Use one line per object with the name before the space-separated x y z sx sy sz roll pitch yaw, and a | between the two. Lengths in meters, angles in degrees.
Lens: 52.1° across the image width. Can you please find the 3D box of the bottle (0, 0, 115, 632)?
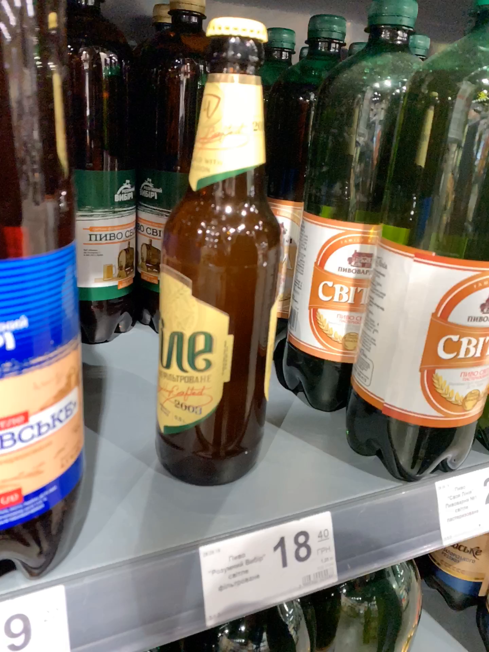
bottle | -0.105 -0.030 0.192 0.084 0.283 0.070 -9 26 -31

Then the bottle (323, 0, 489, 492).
bottle | 0.119 -0.046 0.294 0.084 0.277 0.070 -5 24 -23

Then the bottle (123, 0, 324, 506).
bottle | -0.020 -0.030 0.285 0.070 0.248 0.068 4 22 -2
